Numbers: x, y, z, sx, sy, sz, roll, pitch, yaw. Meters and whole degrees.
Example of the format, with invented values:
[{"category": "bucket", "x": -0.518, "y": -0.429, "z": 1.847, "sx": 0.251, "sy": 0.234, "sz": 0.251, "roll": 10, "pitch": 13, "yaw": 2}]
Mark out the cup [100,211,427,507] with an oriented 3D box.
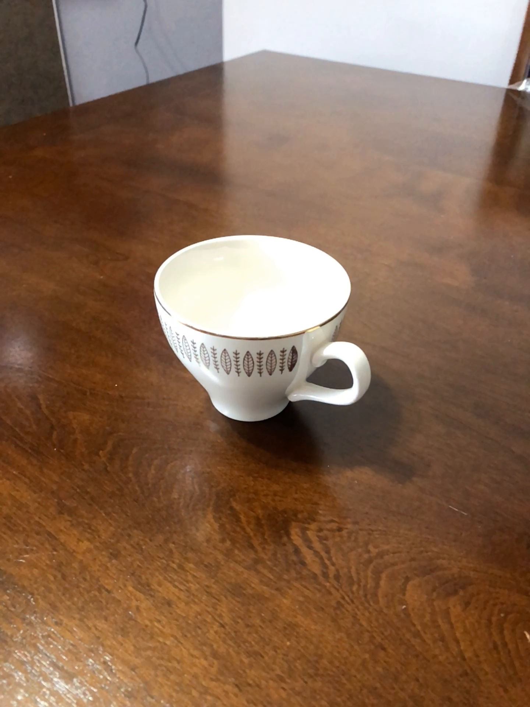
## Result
[{"category": "cup", "x": 0.000, "y": -0.006, "z": 0.260, "sx": 0.100, "sy": 0.060, "sz": 0.090, "roll": 26, "pitch": 43, "yaw": 27}]
